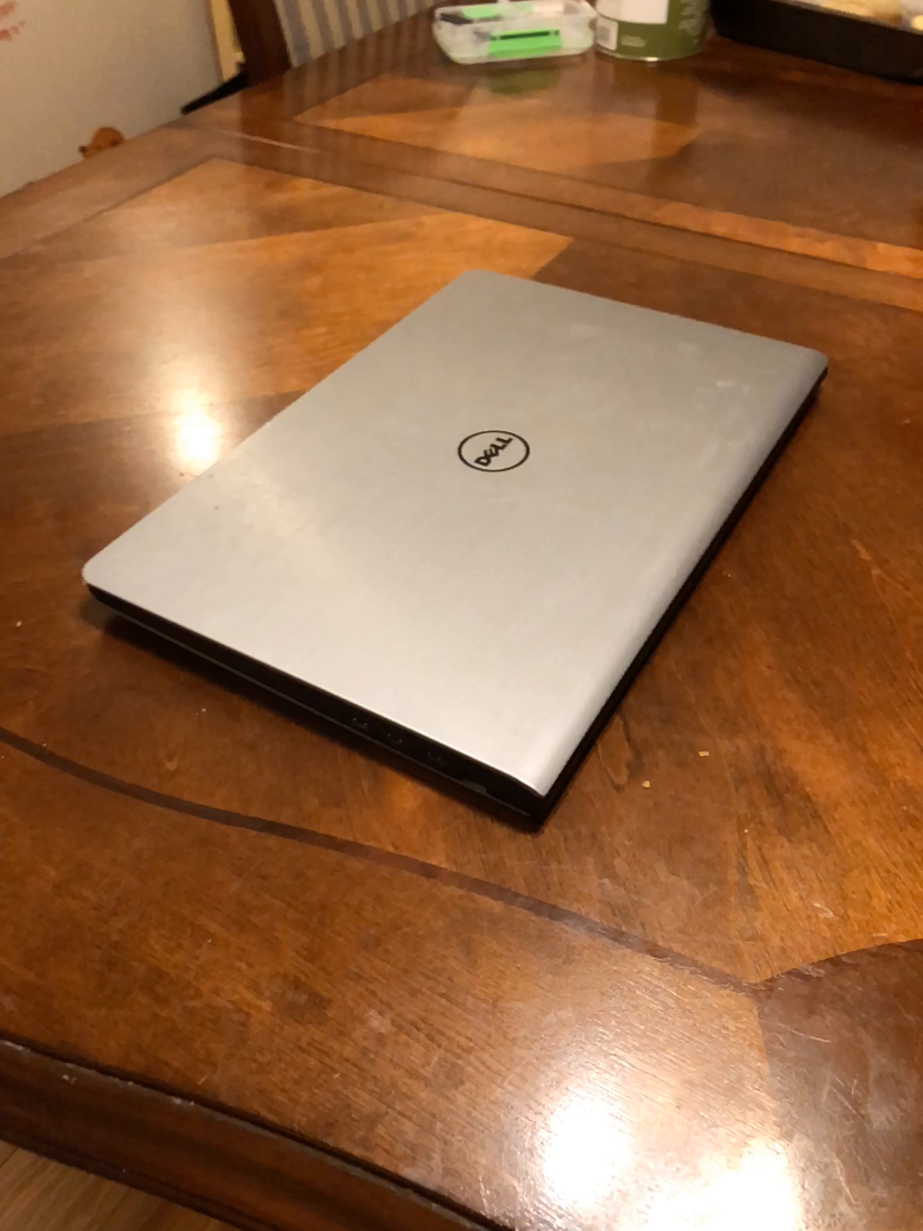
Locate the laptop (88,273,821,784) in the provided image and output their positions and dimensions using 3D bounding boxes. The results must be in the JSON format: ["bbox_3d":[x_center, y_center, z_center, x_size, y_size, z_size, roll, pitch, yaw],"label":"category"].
[{"bbox_3d":[0.020,-0.087,0.547,0.244,0.002,0.365,22,48,22],"label":"laptop"}]
